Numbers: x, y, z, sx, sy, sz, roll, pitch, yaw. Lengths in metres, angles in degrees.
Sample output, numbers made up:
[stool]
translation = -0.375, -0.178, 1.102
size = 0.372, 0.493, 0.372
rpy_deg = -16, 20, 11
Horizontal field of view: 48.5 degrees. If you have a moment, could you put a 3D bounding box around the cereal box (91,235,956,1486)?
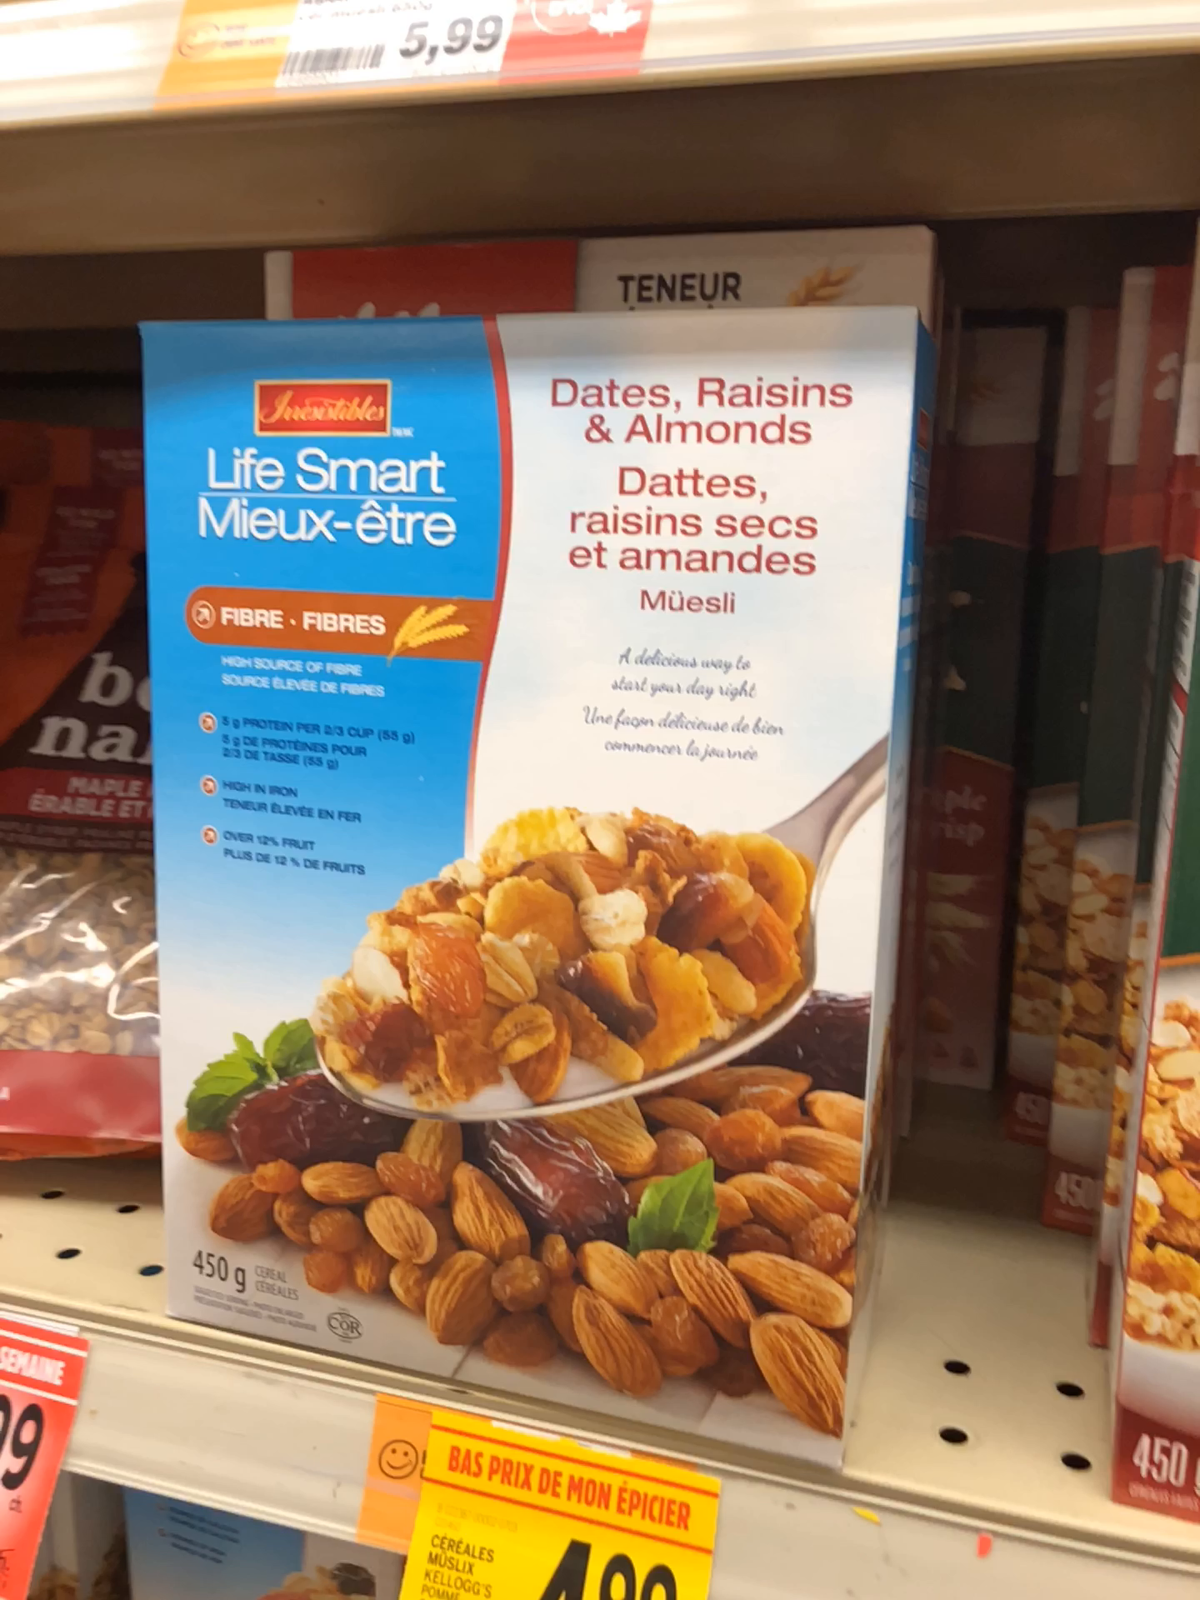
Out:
[cereal box]
translation = -0.019, 0.010, 0.296
size = 0.170, 0.239, 0.050
rpy_deg = 5, 12, 18
